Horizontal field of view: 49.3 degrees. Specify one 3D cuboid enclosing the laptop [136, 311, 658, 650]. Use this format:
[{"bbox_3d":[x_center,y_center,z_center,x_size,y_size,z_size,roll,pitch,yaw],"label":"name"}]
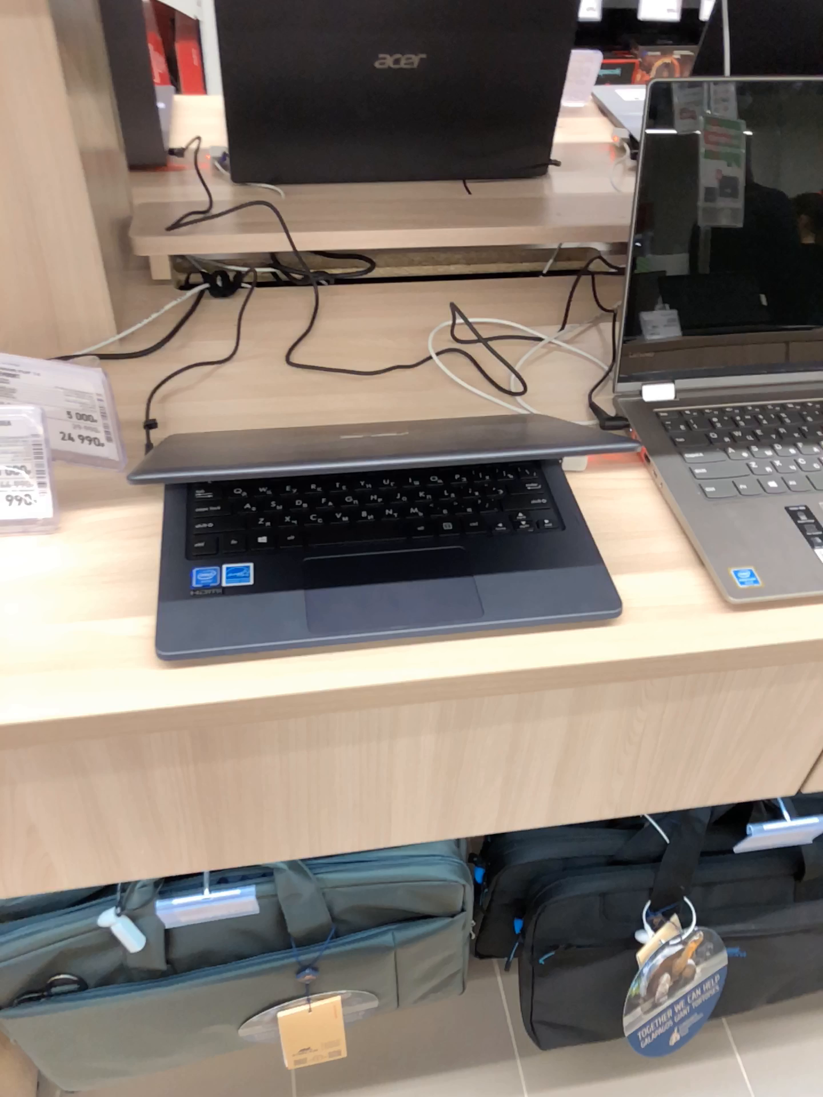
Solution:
[{"bbox_3d":[-0.017,-0.052,0.561,0.272,0.097,0.185,-4,44,-8],"label":"laptop"}]
